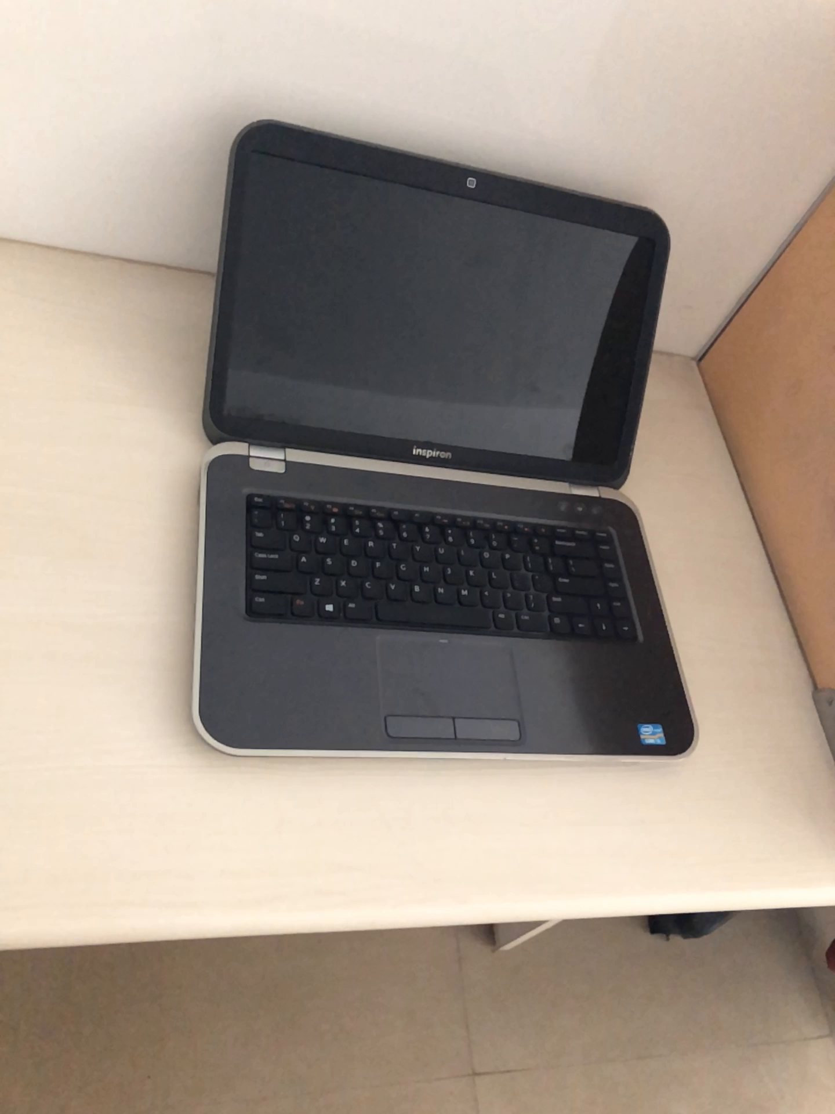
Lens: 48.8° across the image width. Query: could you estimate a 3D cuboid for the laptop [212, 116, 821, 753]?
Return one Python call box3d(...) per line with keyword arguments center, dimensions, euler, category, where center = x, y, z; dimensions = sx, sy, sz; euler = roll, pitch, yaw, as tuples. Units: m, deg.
box3d(center=(0.039, -0.087, 0.667), dimensions=(0.340, 0.152, 0.410), euler=(5, 57, -18), category="laptop")
